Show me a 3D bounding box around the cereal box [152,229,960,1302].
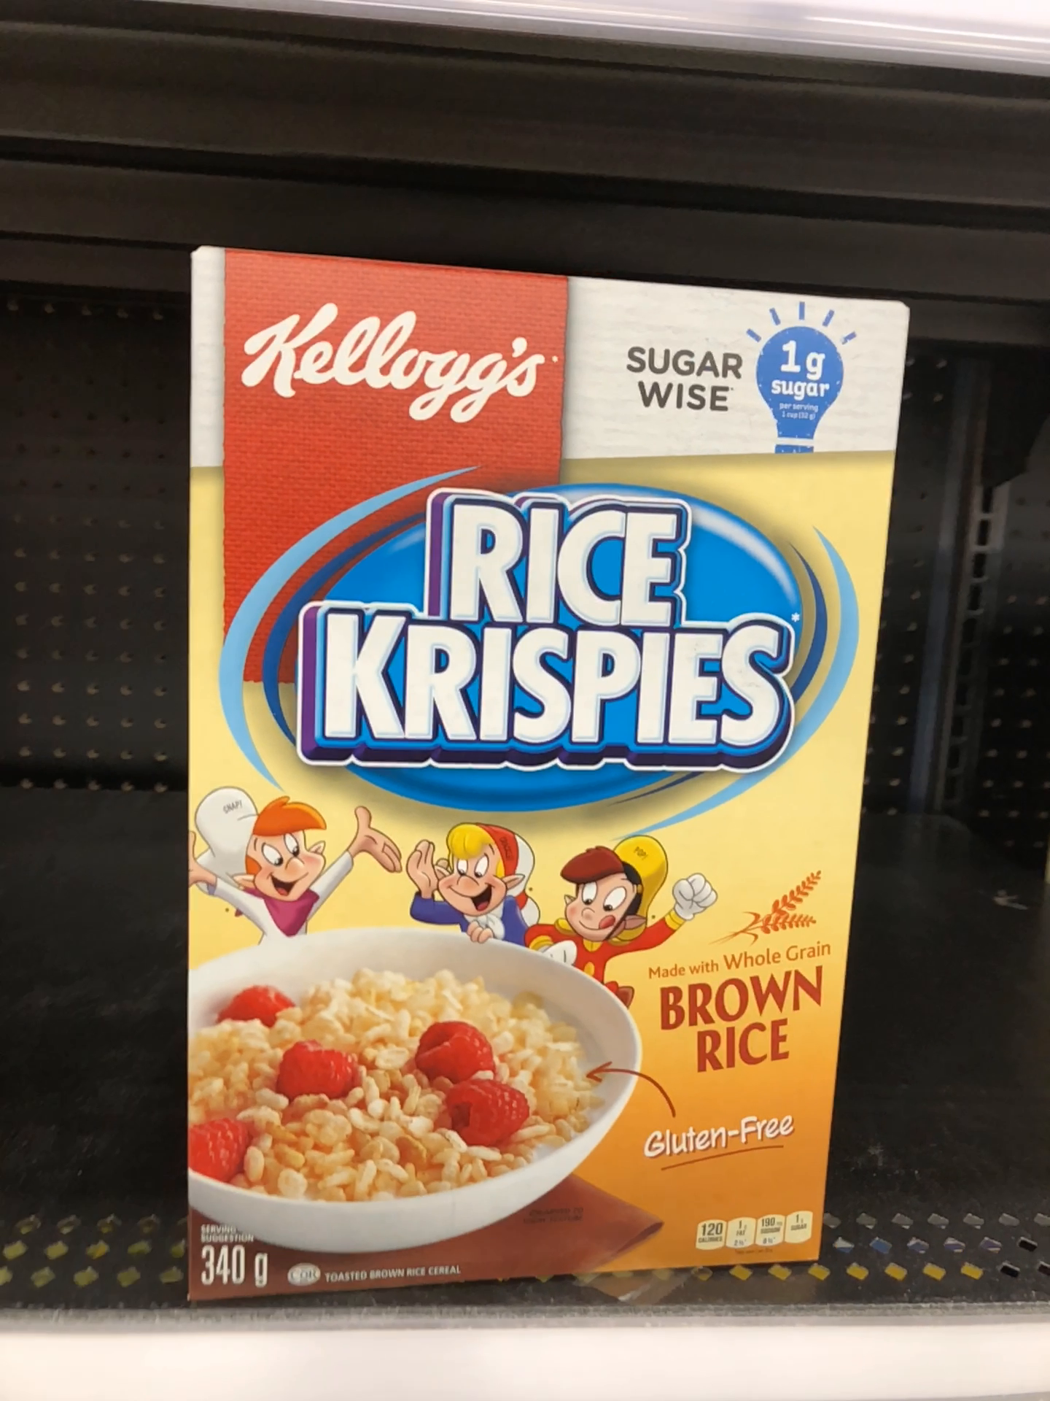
[{"bbox_3d":[0.002,0.025,0.351,0.210,0.289,0.060,1,10,-9],"label":"cereal box"}]
